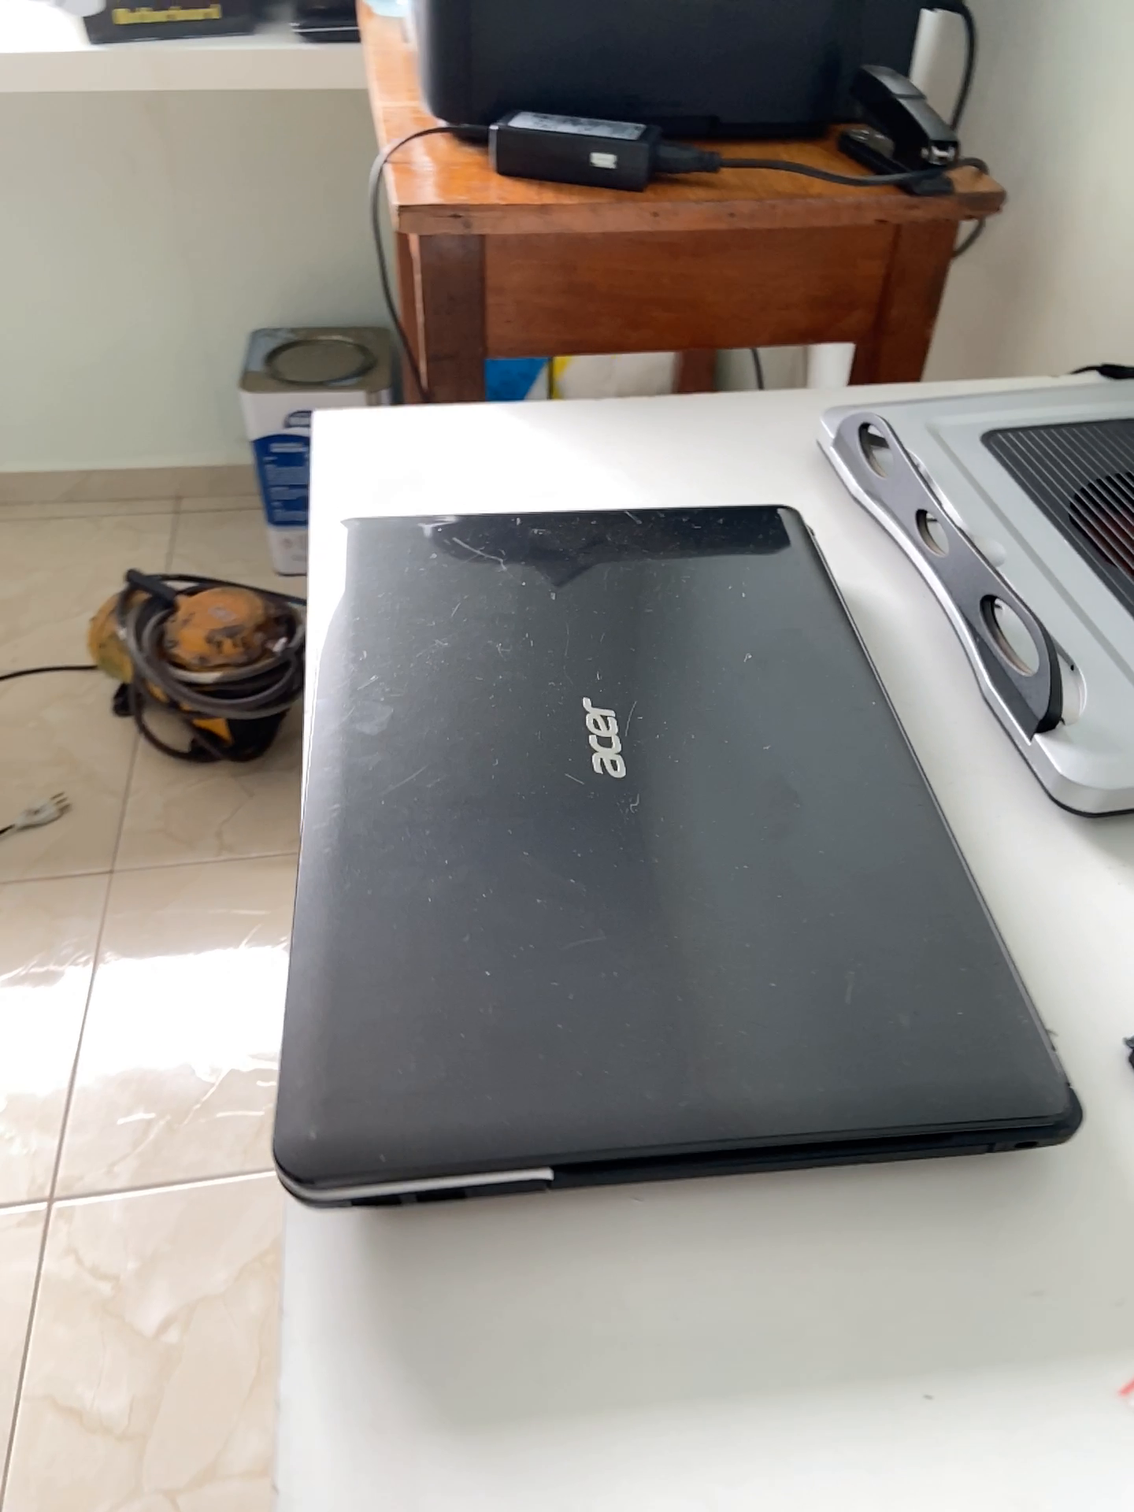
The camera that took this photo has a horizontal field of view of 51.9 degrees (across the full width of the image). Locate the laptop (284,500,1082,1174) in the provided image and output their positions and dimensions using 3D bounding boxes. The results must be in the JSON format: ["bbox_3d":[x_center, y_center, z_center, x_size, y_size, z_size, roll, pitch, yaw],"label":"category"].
[{"bbox_3d":[0.020,-0.007,0.453,0.230,0.005,0.337,-2,43,-6],"label":"laptop"}]
